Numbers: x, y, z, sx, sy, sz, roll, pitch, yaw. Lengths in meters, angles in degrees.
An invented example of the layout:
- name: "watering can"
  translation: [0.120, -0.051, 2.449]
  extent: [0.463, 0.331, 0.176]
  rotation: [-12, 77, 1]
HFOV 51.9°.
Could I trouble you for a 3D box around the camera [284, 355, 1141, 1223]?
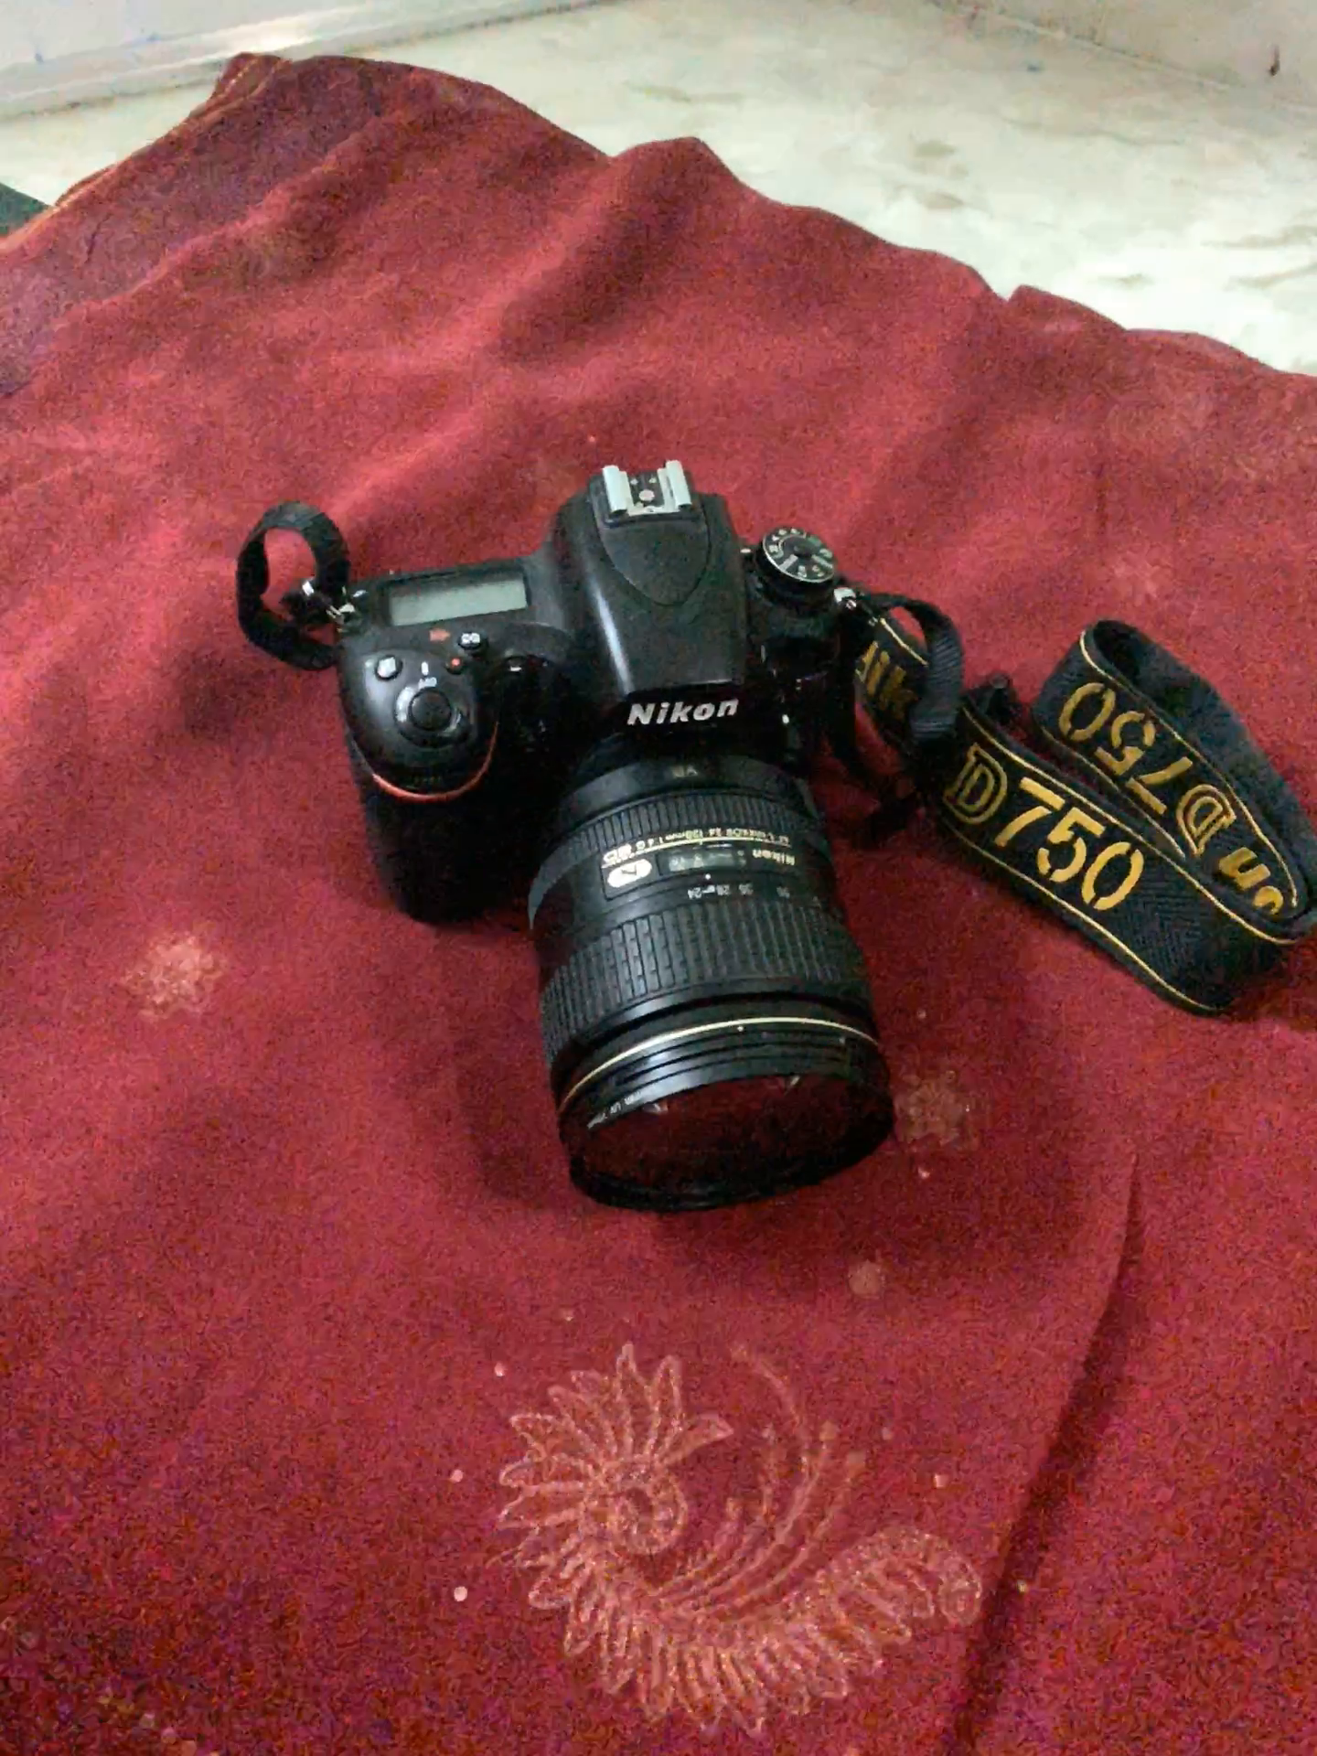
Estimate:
- name: "camera"
  translation: [-0.001, -0.024, 0.324]
  extent: [0.150, 0.110, 0.160]
  rotation: [-6, 55, -6]
